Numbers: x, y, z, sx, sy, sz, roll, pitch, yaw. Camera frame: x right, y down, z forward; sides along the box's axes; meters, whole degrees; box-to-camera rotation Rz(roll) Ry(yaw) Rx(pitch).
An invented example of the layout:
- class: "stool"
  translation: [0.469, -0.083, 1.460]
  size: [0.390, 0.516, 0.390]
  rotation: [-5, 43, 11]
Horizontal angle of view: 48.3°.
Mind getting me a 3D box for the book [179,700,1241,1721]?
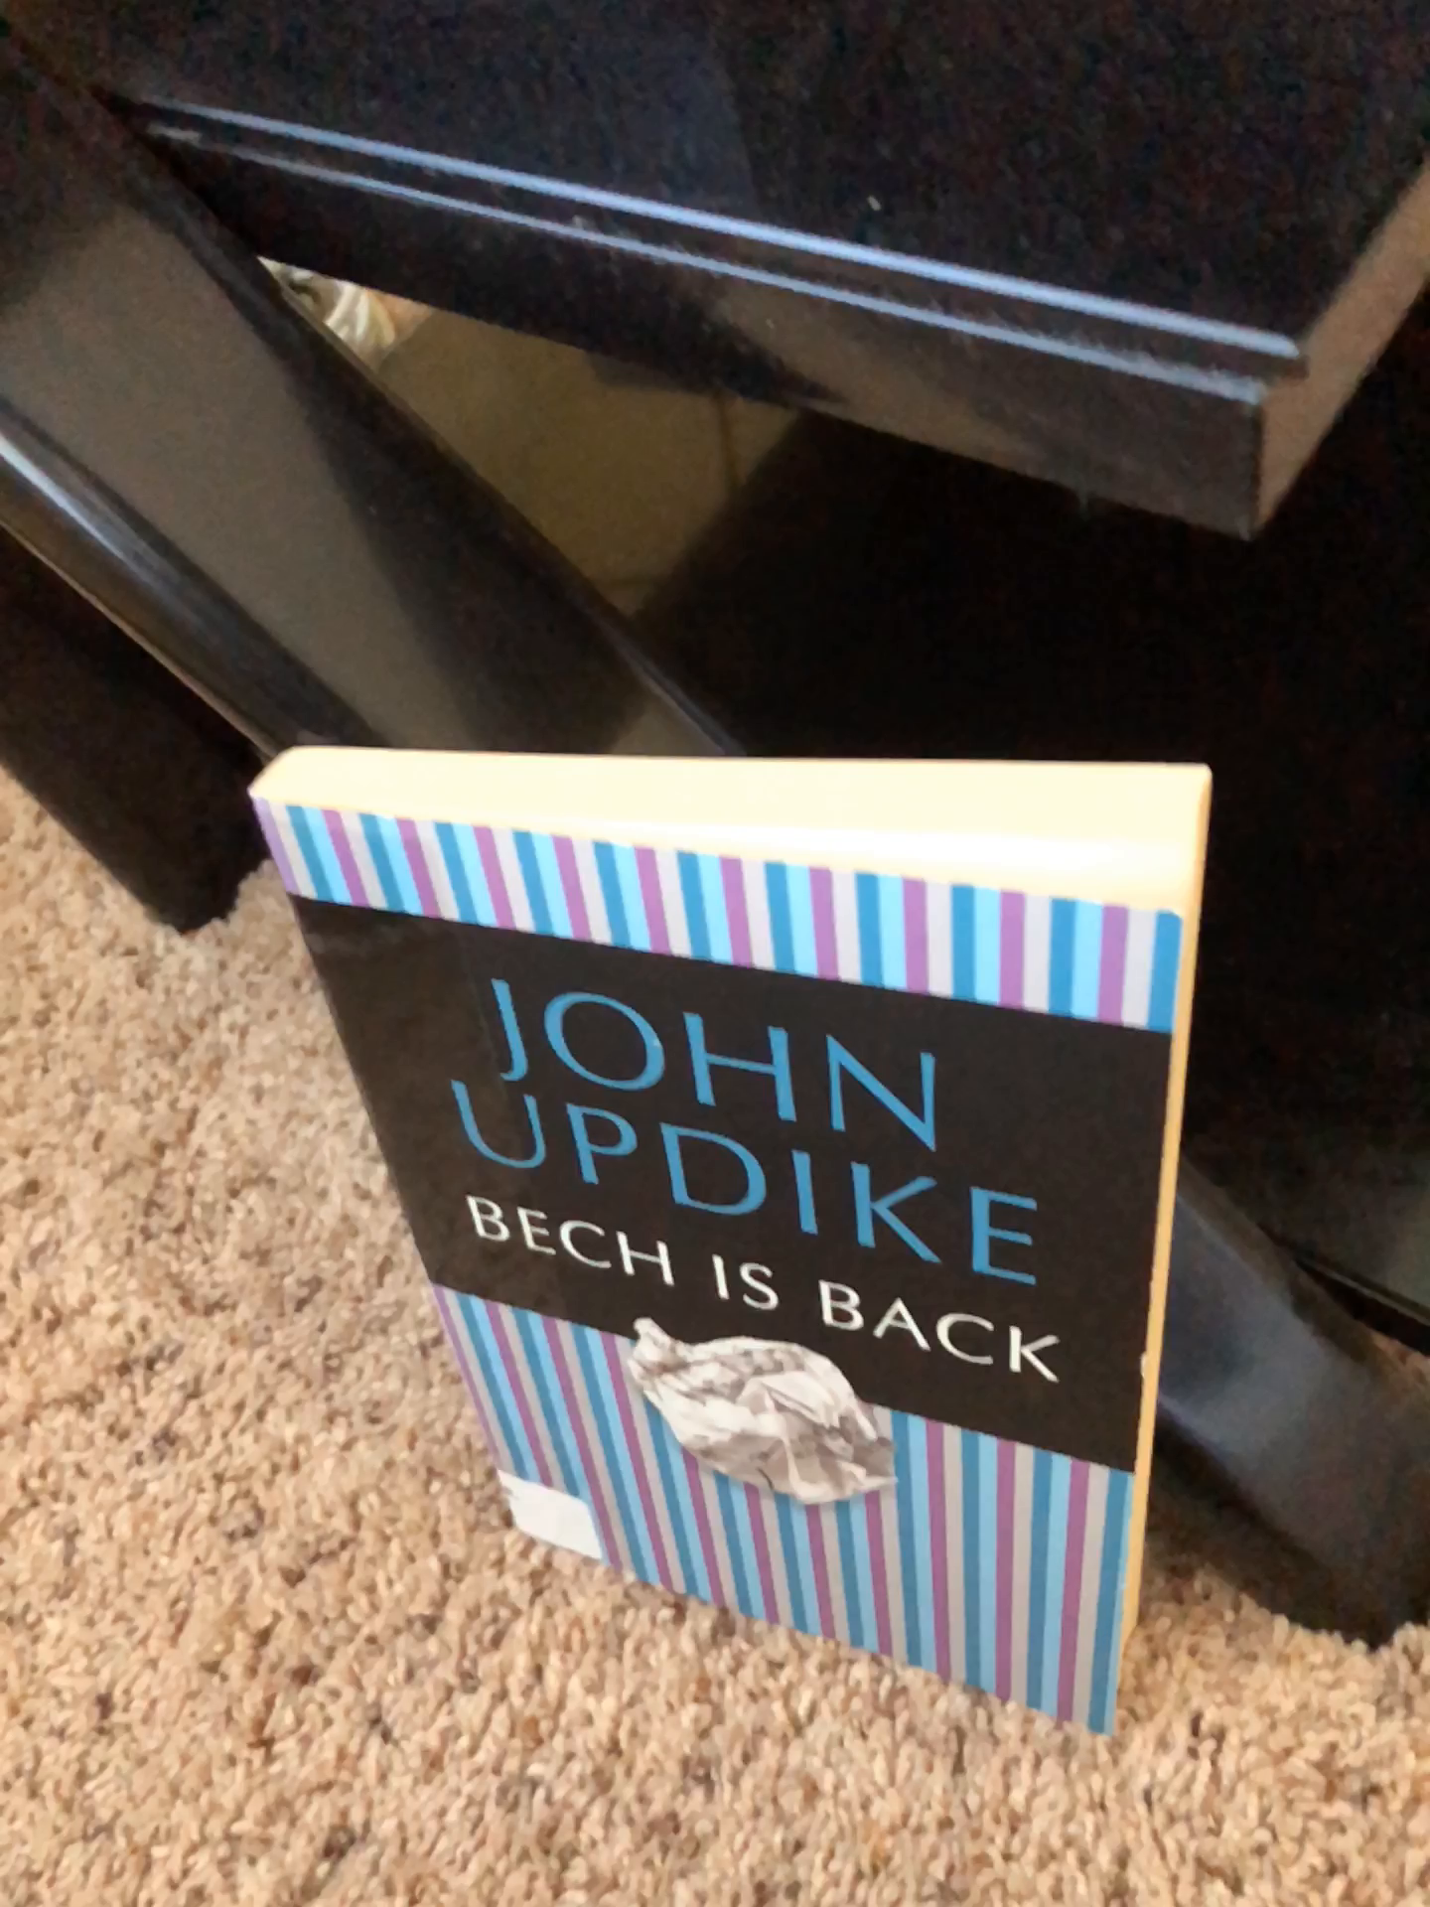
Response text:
- class: "book"
  translation: [0.011, 0.054, 0.270]
  size: [0.135, 0.201, 0.030]
  rotation: [8, 46, 21]
